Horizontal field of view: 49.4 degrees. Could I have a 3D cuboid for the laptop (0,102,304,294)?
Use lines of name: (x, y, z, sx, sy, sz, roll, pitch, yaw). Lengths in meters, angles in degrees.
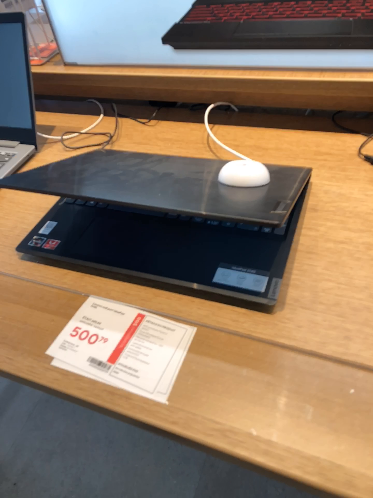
laptop: (-0.039, -0.086, 0.528, 0.331, 0.083, 0.224, 10, 50, 18)
